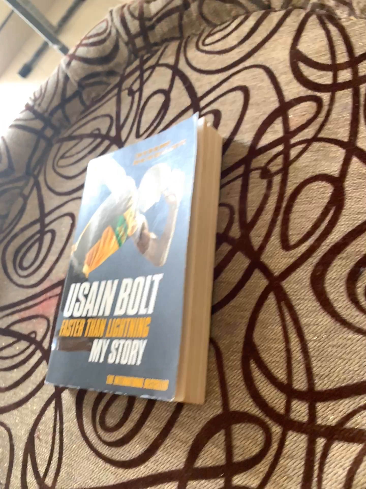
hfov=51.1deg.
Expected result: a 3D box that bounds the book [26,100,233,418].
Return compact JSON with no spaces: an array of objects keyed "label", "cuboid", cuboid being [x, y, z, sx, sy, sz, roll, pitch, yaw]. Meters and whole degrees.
[{"label":"book","cuboid":[-0.038,0.008,0.281,0.141,0.030,0.200,-9,65,36]}]
